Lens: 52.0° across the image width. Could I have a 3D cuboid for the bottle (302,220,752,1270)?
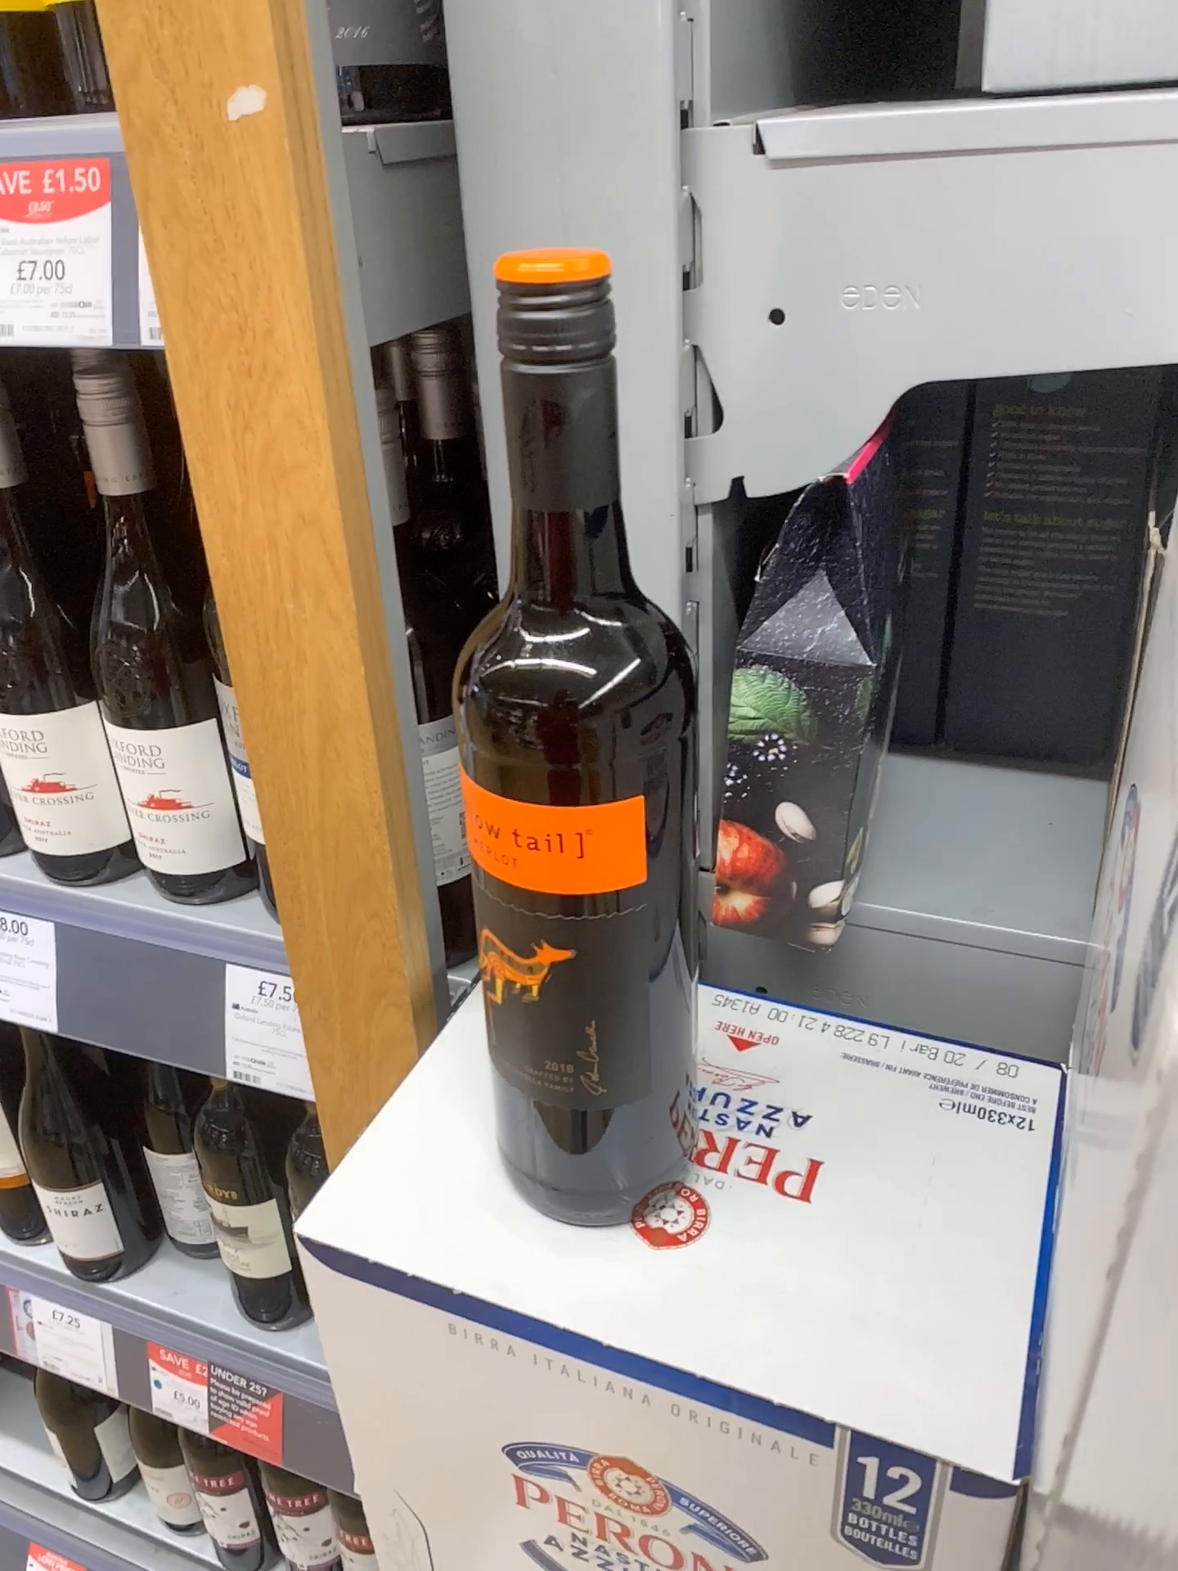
[{"bbox_3d":[-0.008,-0.002,0.362,0.076,0.297,0.078,-3,29,1],"label":"bottle"}]
